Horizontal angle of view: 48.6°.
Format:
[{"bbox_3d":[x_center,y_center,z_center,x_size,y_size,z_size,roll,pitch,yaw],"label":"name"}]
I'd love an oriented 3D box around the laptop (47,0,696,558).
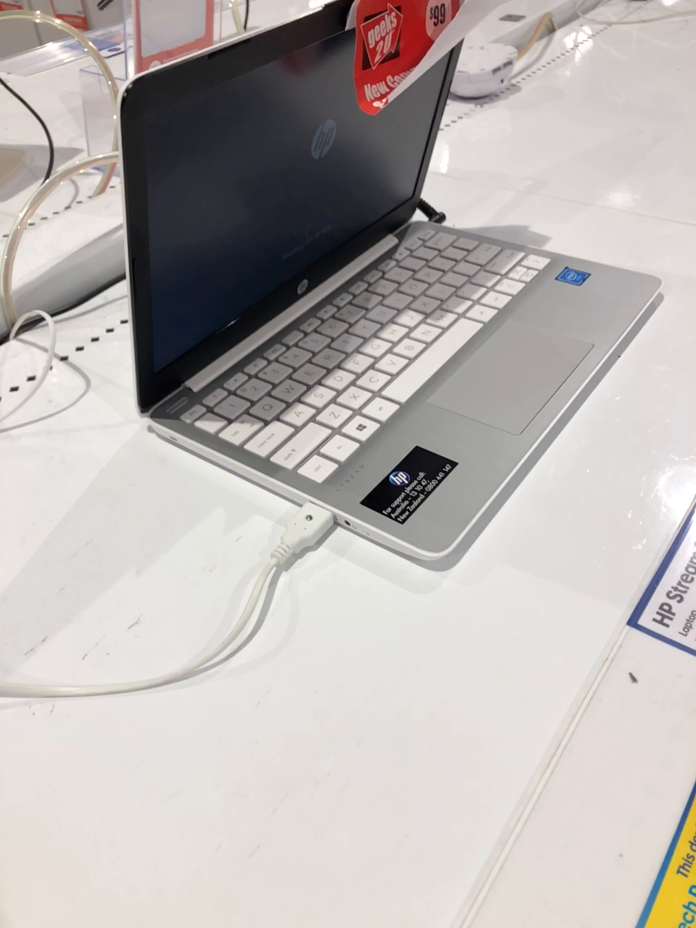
[{"bbox_3d":[0.039,-0.135,0.397,0.183,0.173,0.274,23,48,27],"label":"laptop"}]
